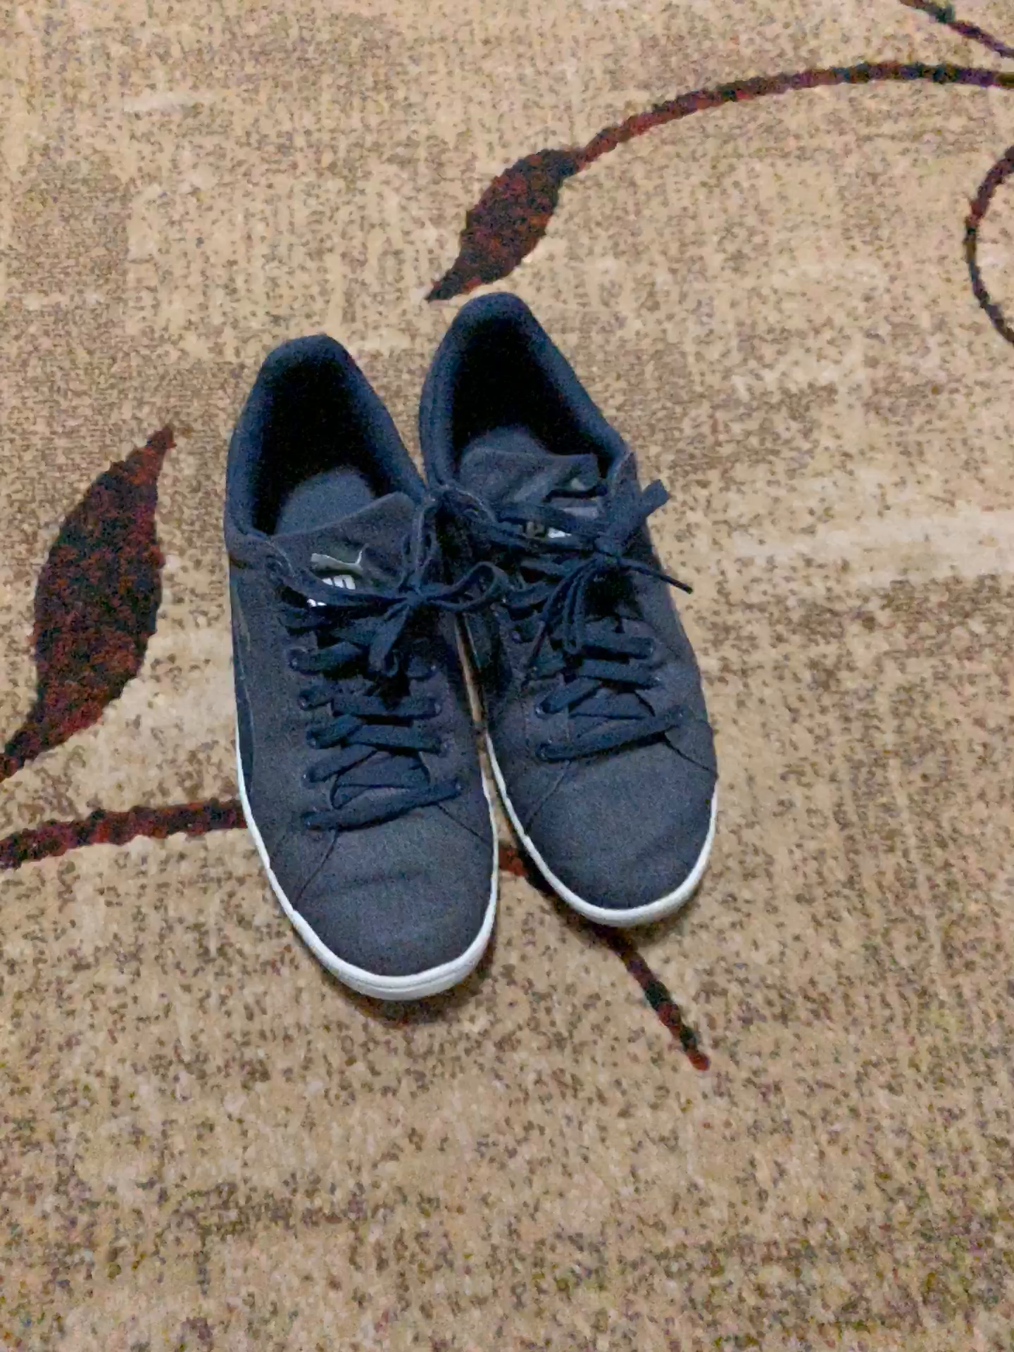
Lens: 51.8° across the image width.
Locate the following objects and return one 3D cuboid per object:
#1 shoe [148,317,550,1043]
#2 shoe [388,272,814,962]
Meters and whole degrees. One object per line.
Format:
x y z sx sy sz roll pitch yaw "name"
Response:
-0.070 -0.001 0.437 0.106 0.090 0.275 -11 72 -8 "shoe"
0.028 -0.033 0.434 0.099 0.051 0.275 -12 72 -8 "shoe"
